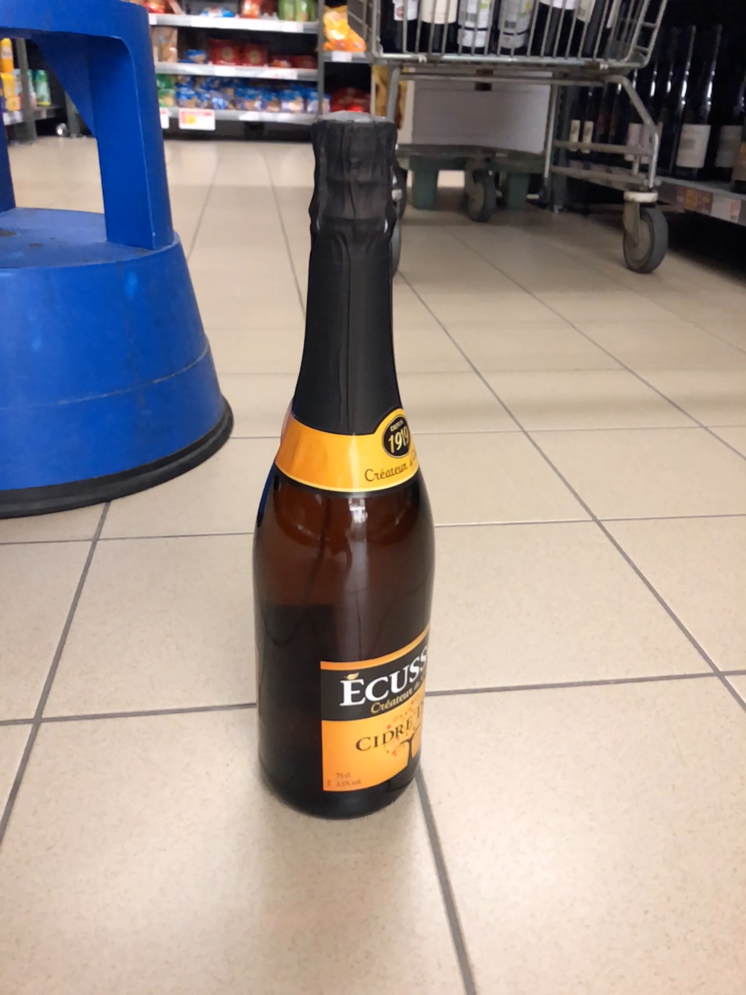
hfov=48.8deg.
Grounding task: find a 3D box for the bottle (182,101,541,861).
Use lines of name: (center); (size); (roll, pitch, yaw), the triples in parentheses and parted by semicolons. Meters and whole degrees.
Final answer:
bottle: (-0.009, -0.003, 0.355); (0.090, 0.298, 0.090); (2, 25, -1)
